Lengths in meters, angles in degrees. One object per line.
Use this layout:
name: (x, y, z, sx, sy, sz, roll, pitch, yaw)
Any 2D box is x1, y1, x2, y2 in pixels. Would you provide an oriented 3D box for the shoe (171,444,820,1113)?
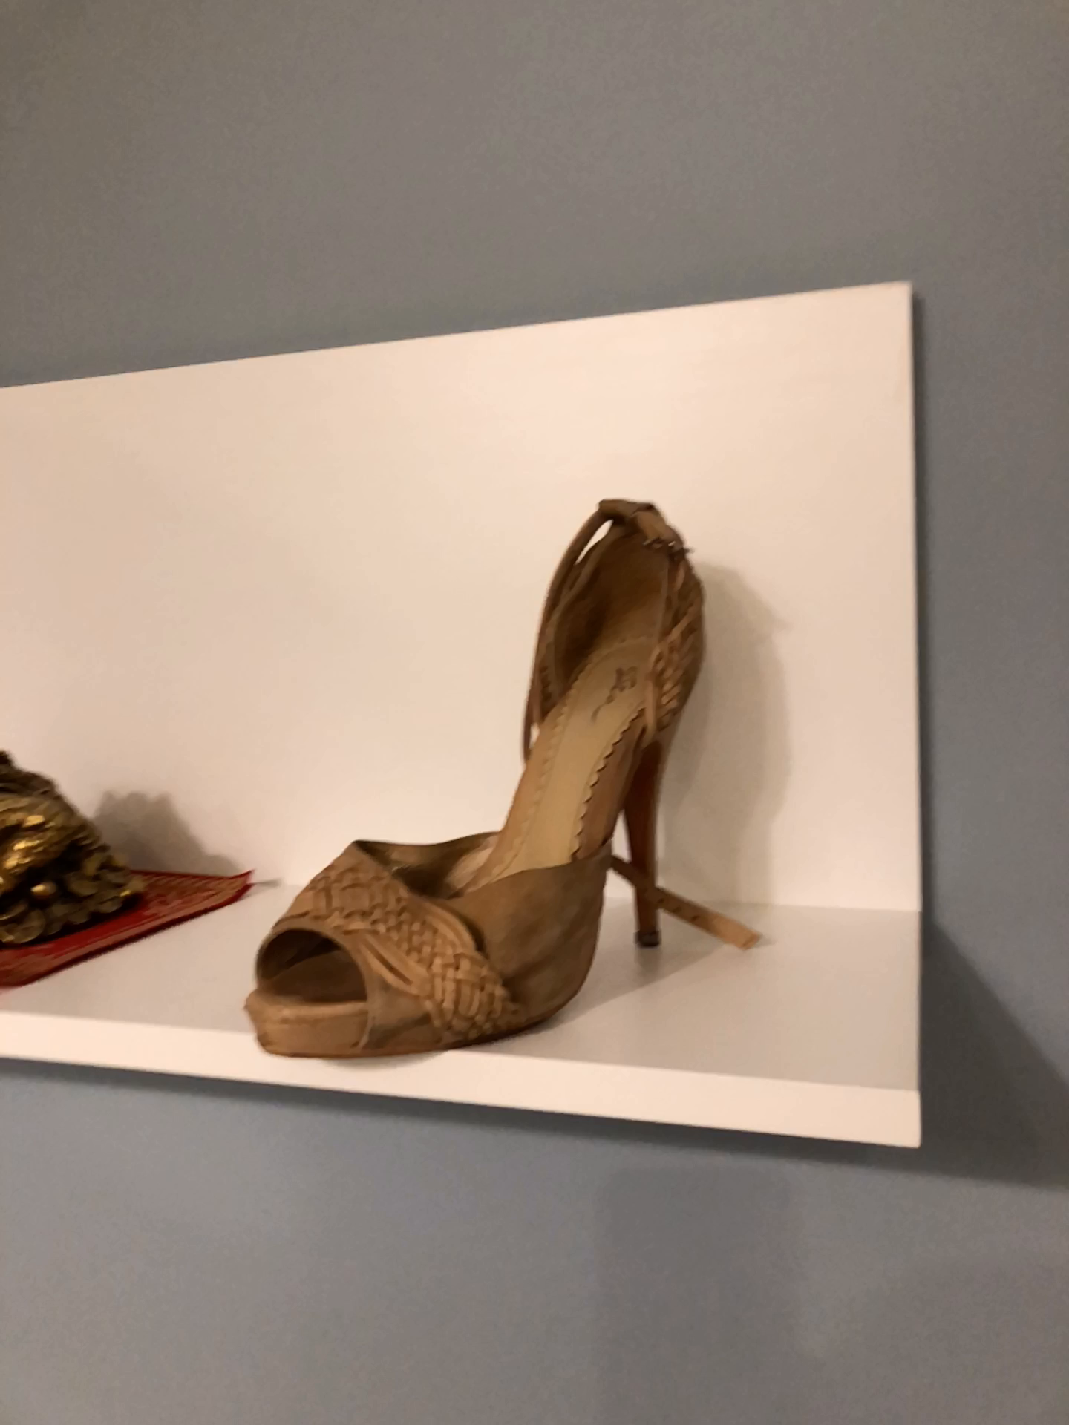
shoe: (-0.005, 0.011, 0.421, 0.210, 0.180, 0.100, -5, 4, -41)
